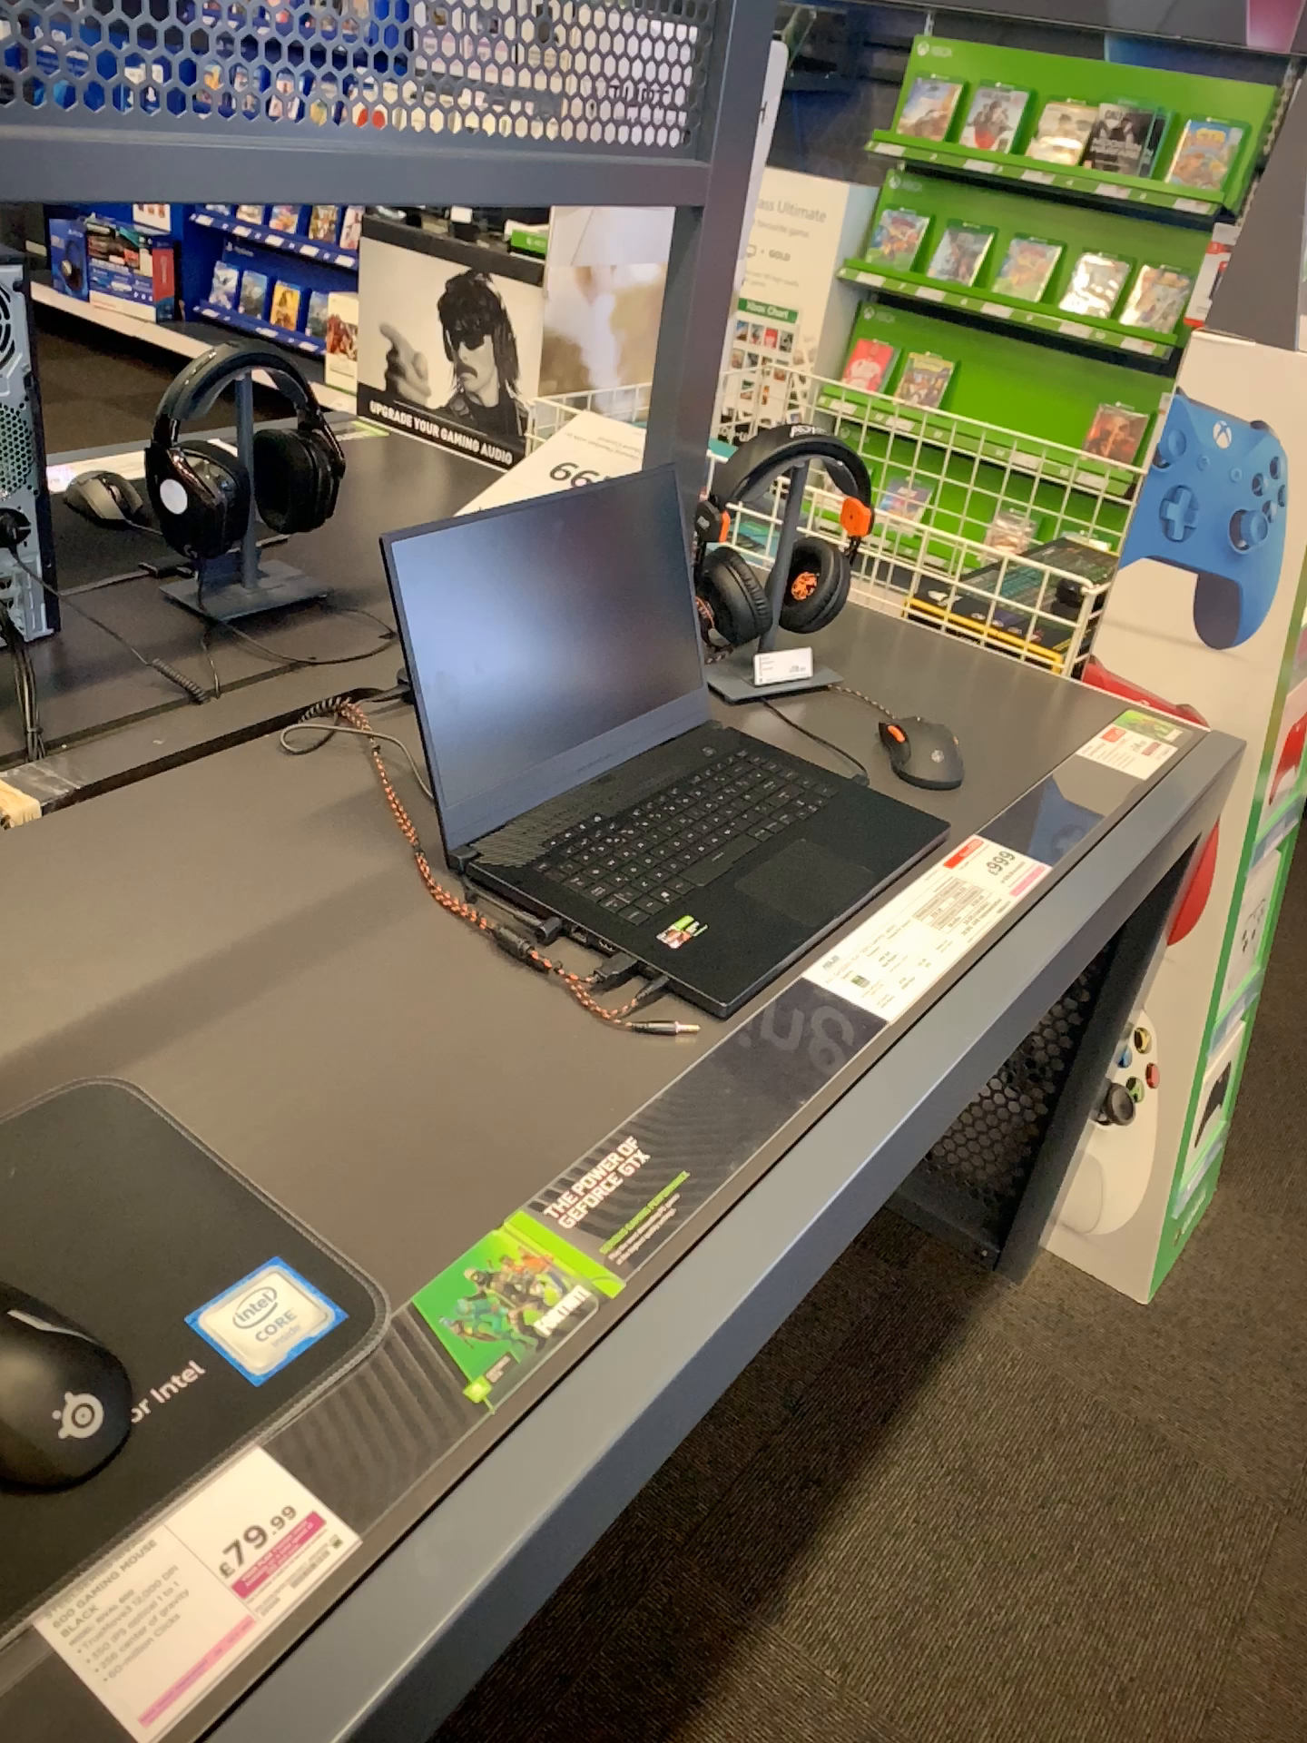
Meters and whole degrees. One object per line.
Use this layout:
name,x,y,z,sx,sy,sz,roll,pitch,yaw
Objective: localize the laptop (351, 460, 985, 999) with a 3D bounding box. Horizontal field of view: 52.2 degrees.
laptop,0.014,-0.137,1.011,0.324,0.203,0.350,27,35,24
